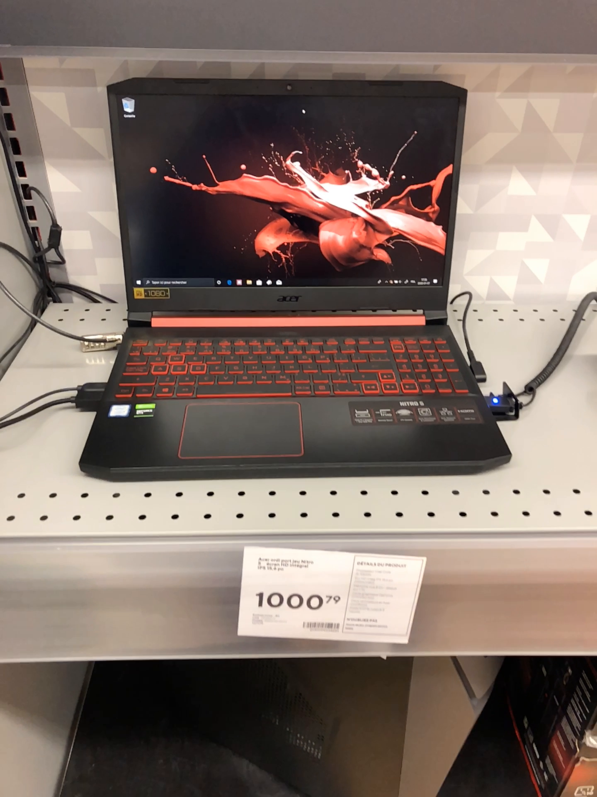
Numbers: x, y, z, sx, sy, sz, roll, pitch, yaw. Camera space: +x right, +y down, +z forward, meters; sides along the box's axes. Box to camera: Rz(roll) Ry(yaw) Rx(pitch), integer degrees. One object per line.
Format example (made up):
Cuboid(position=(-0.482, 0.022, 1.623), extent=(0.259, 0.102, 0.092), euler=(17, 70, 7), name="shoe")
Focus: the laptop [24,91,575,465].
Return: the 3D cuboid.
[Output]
Cuboid(position=(-0.002, -0.127, 0.615), extent=(0.361, 0.241, 0.282), euler=(-1, 35, -4), name="laptop")
